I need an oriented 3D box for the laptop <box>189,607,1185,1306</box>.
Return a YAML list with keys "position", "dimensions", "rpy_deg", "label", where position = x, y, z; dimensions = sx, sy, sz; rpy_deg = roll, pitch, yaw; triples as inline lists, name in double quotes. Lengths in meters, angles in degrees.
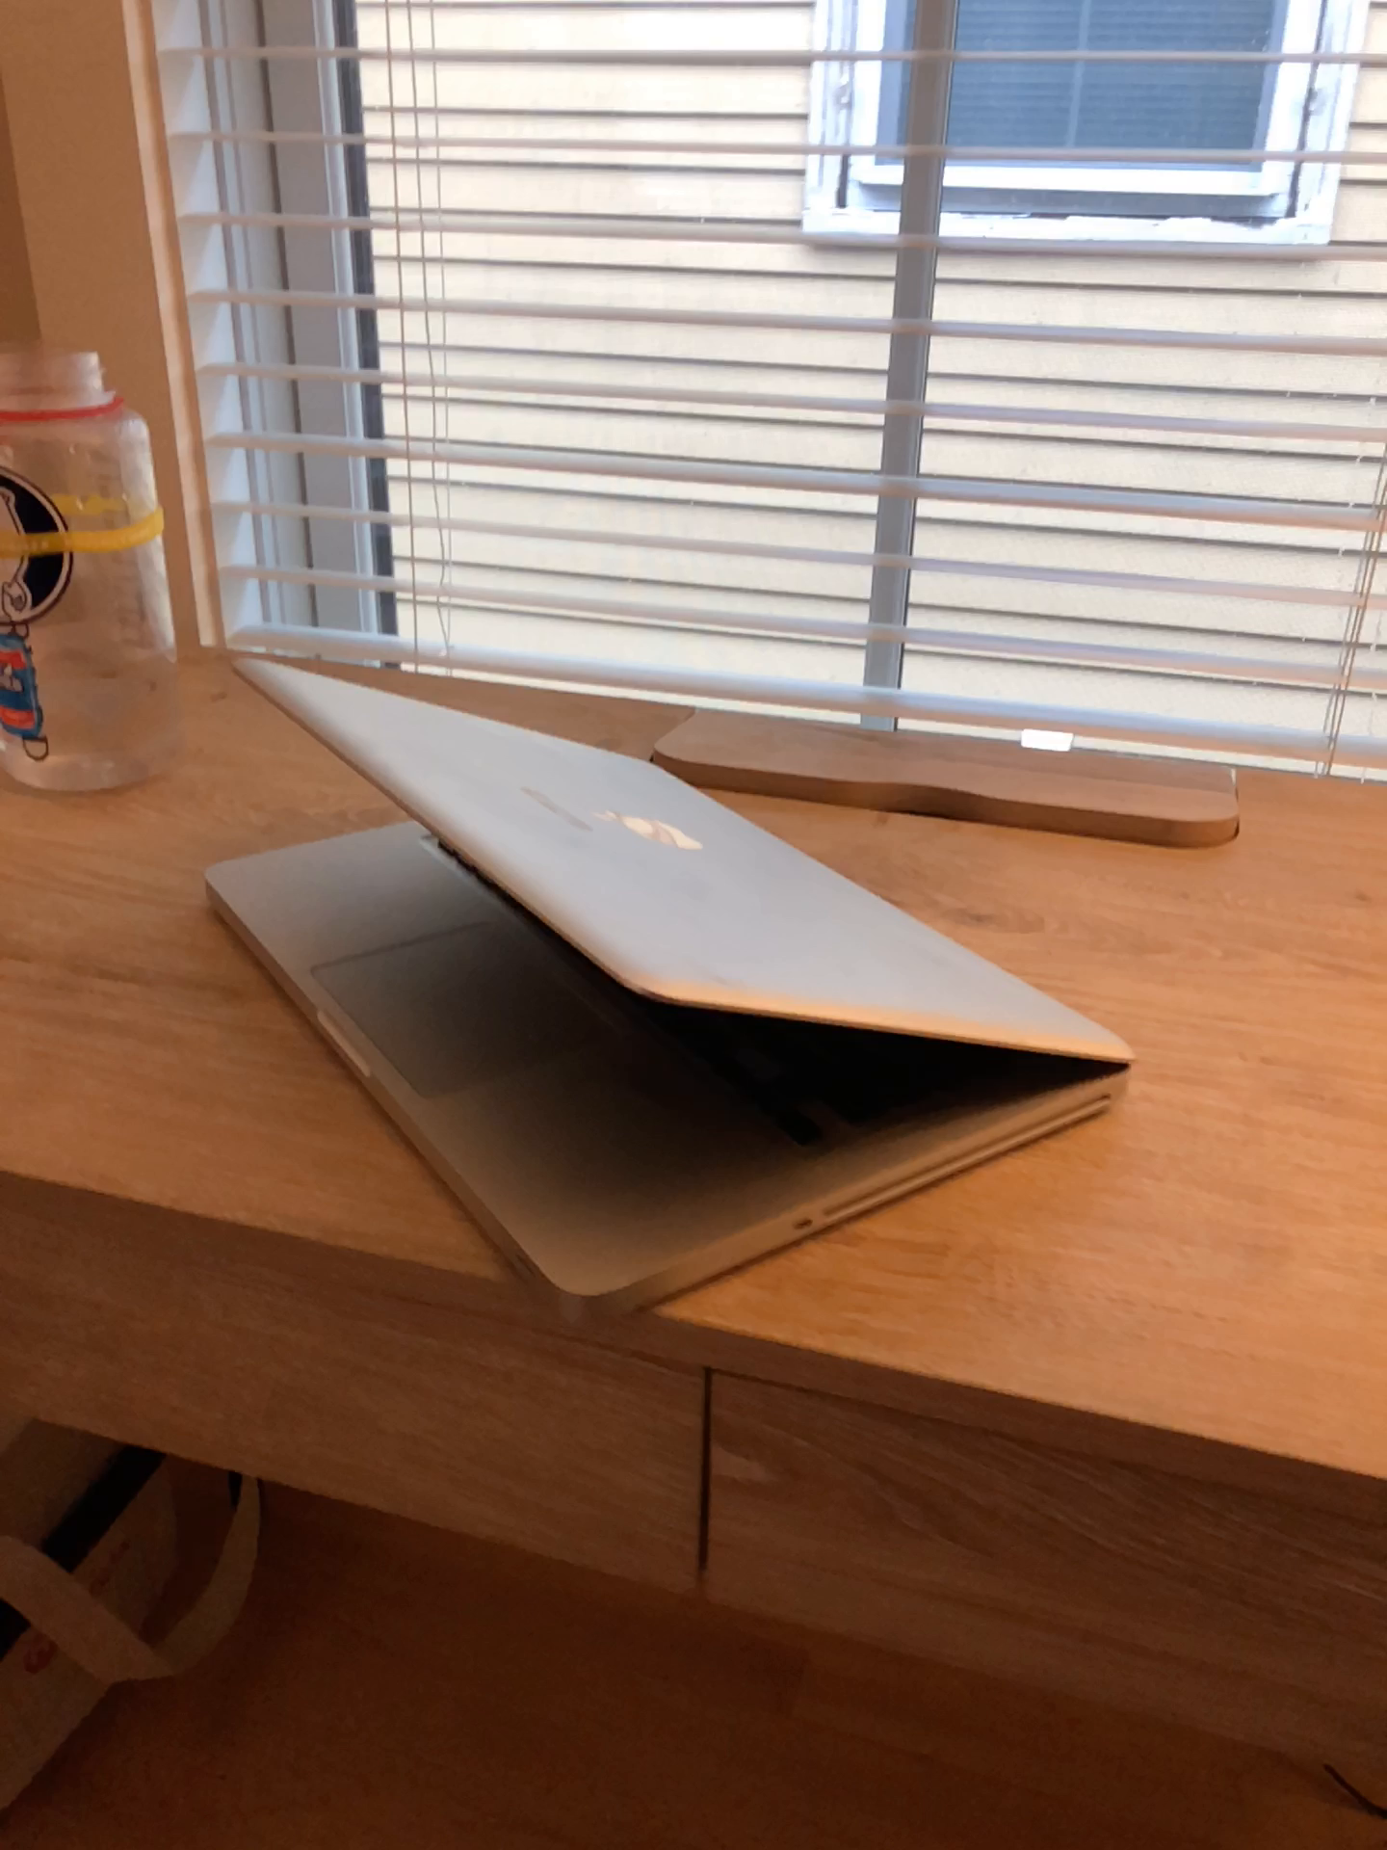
- position: [-0.024, -0.025, 0.571]
  dimensions: [0.229, 0.089, 0.319]
  rpy_deg: [-15, 31, -30]
  label: "laptop"
